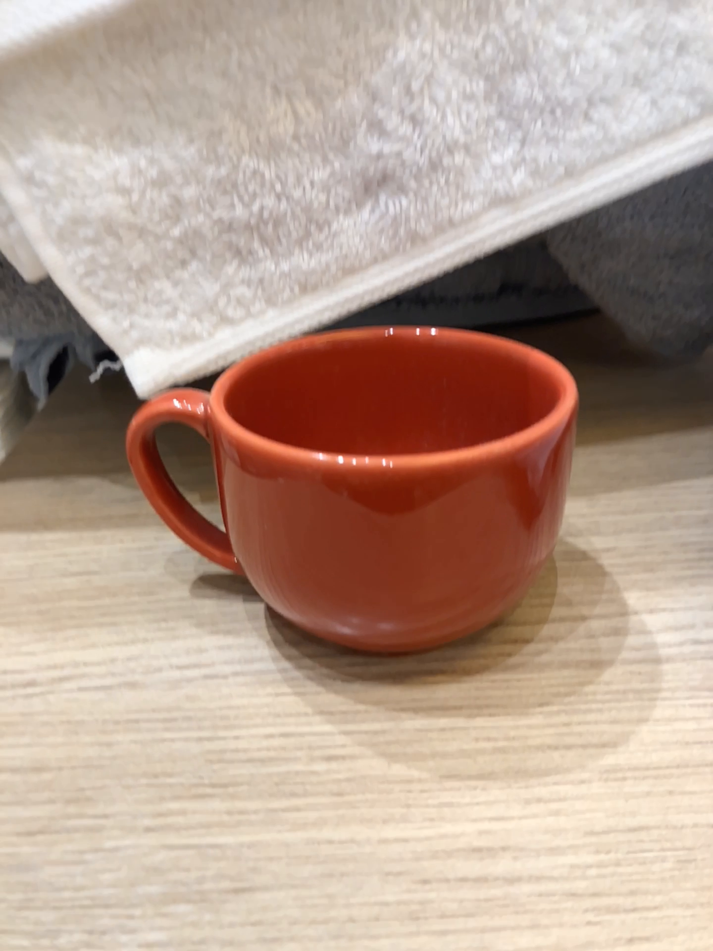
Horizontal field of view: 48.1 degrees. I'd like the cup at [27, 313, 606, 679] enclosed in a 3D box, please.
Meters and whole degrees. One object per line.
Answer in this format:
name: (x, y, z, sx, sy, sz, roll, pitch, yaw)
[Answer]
cup: (-0.005, -0.001, 0.184, 0.100, 0.050, 0.081, 0, 28, 4)
